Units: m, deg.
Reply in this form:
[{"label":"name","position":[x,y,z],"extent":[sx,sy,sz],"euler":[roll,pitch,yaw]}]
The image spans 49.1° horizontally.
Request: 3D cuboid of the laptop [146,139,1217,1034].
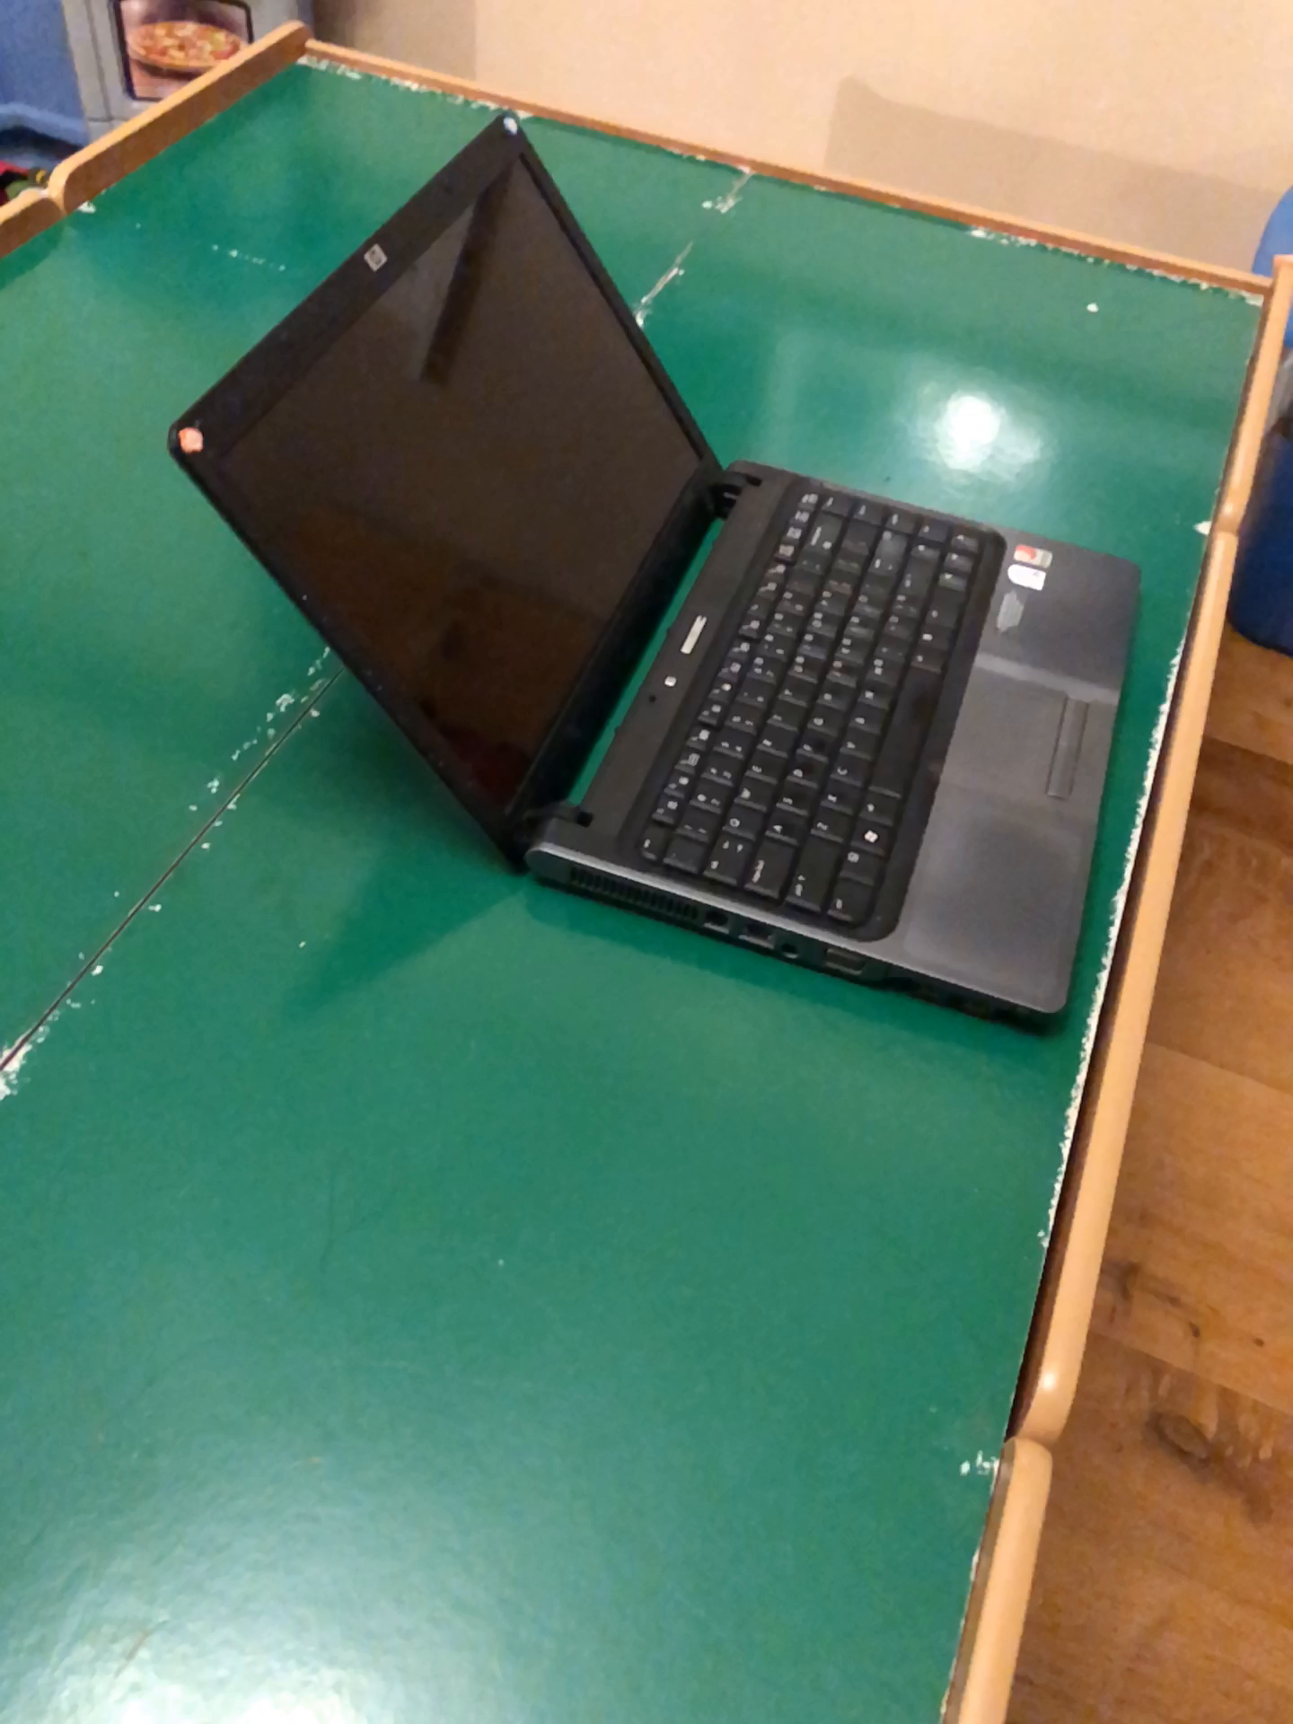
[{"label":"laptop","position":[0.036,-0.151,0.665],"extent":[0.374,0.172,0.324],"euler":[17,50,10]}]
